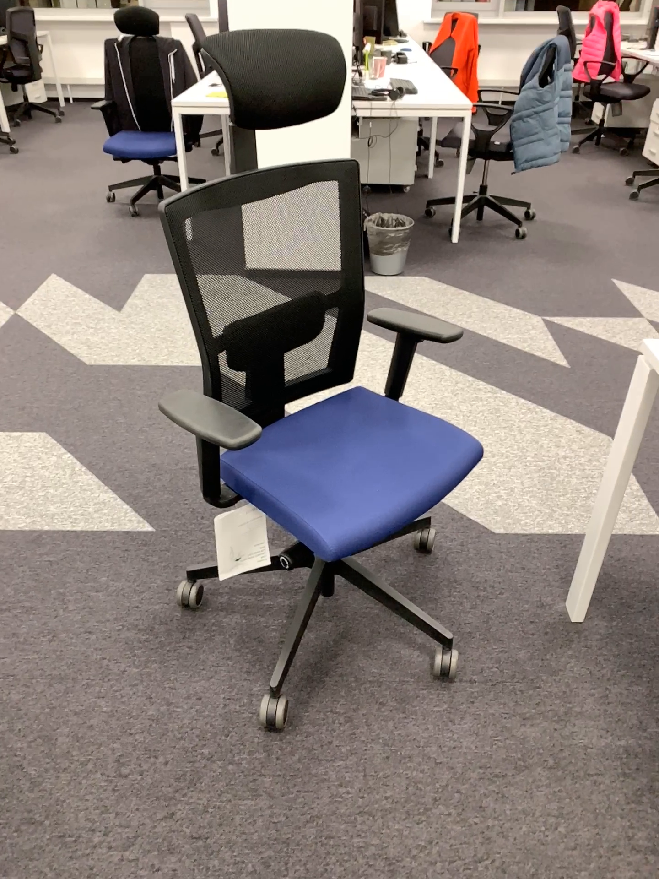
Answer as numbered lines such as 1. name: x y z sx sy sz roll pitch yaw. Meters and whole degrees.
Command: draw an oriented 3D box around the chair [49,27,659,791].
1. chair: 0.041 -0.092 1.389 0.732 1.243 0.672 -23 41 -30
